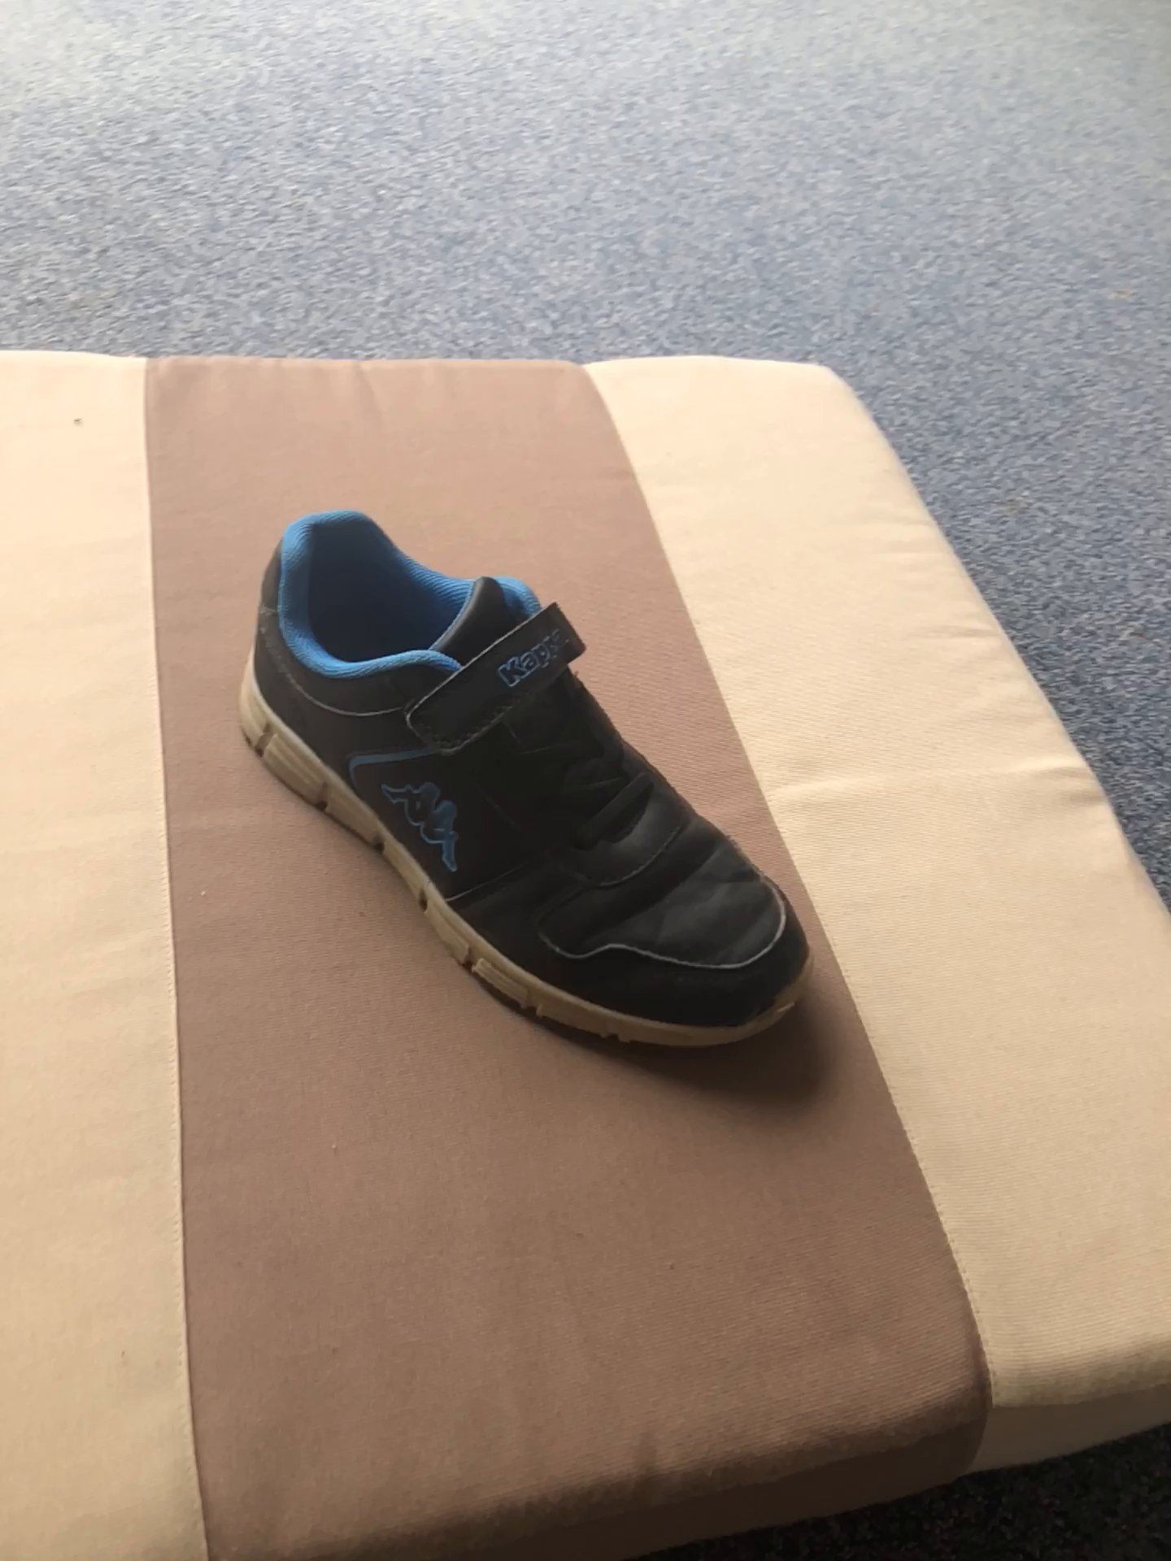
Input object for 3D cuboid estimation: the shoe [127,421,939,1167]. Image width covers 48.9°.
[{"bbox_3d":[-0.026,-0.005,0.423,0.240,0.090,0.101,36,53,19],"label":"shoe"}]
